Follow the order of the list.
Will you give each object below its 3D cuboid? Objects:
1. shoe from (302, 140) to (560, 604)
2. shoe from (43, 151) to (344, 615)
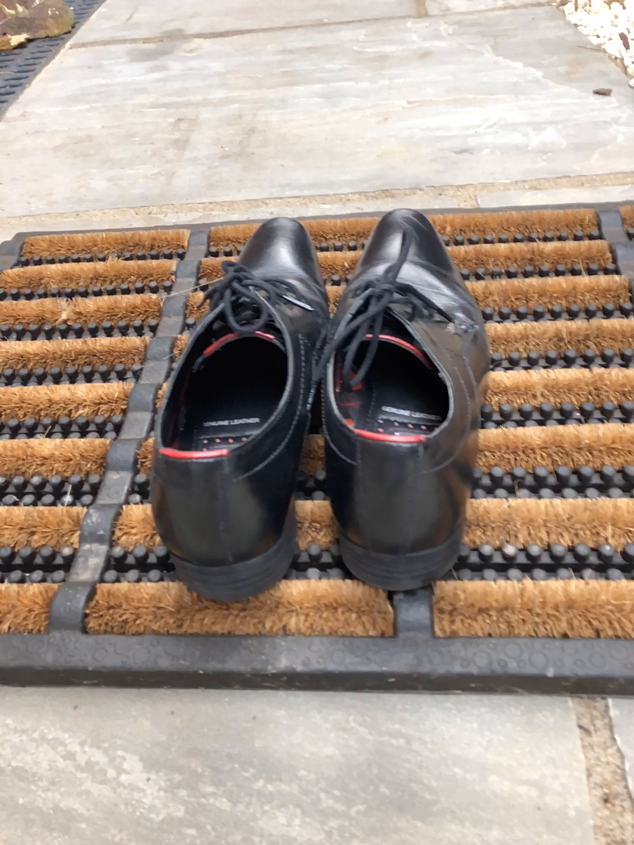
[{"bbox_3d":[0.060,-0.054,0.414,0.100,0.099,0.302,0,45,7],"label":"shoe"},{"bbox_3d":[-0.045,-0.047,0.418,0.100,0.099,0.302,0,45,7],"label":"shoe"}]
